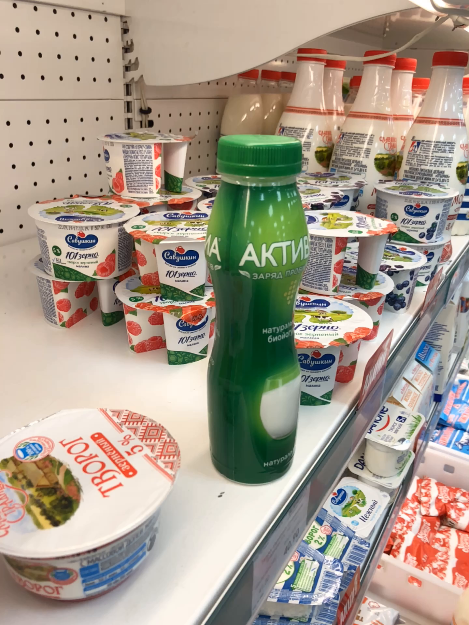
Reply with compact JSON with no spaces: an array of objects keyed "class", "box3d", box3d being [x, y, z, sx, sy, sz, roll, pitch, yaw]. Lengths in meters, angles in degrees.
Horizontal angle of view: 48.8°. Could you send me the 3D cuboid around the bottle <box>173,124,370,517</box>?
[{"class":"bottle","box3d":[0.015,0.002,0.277,0.060,0.189,0.070,23,31,40]}]
